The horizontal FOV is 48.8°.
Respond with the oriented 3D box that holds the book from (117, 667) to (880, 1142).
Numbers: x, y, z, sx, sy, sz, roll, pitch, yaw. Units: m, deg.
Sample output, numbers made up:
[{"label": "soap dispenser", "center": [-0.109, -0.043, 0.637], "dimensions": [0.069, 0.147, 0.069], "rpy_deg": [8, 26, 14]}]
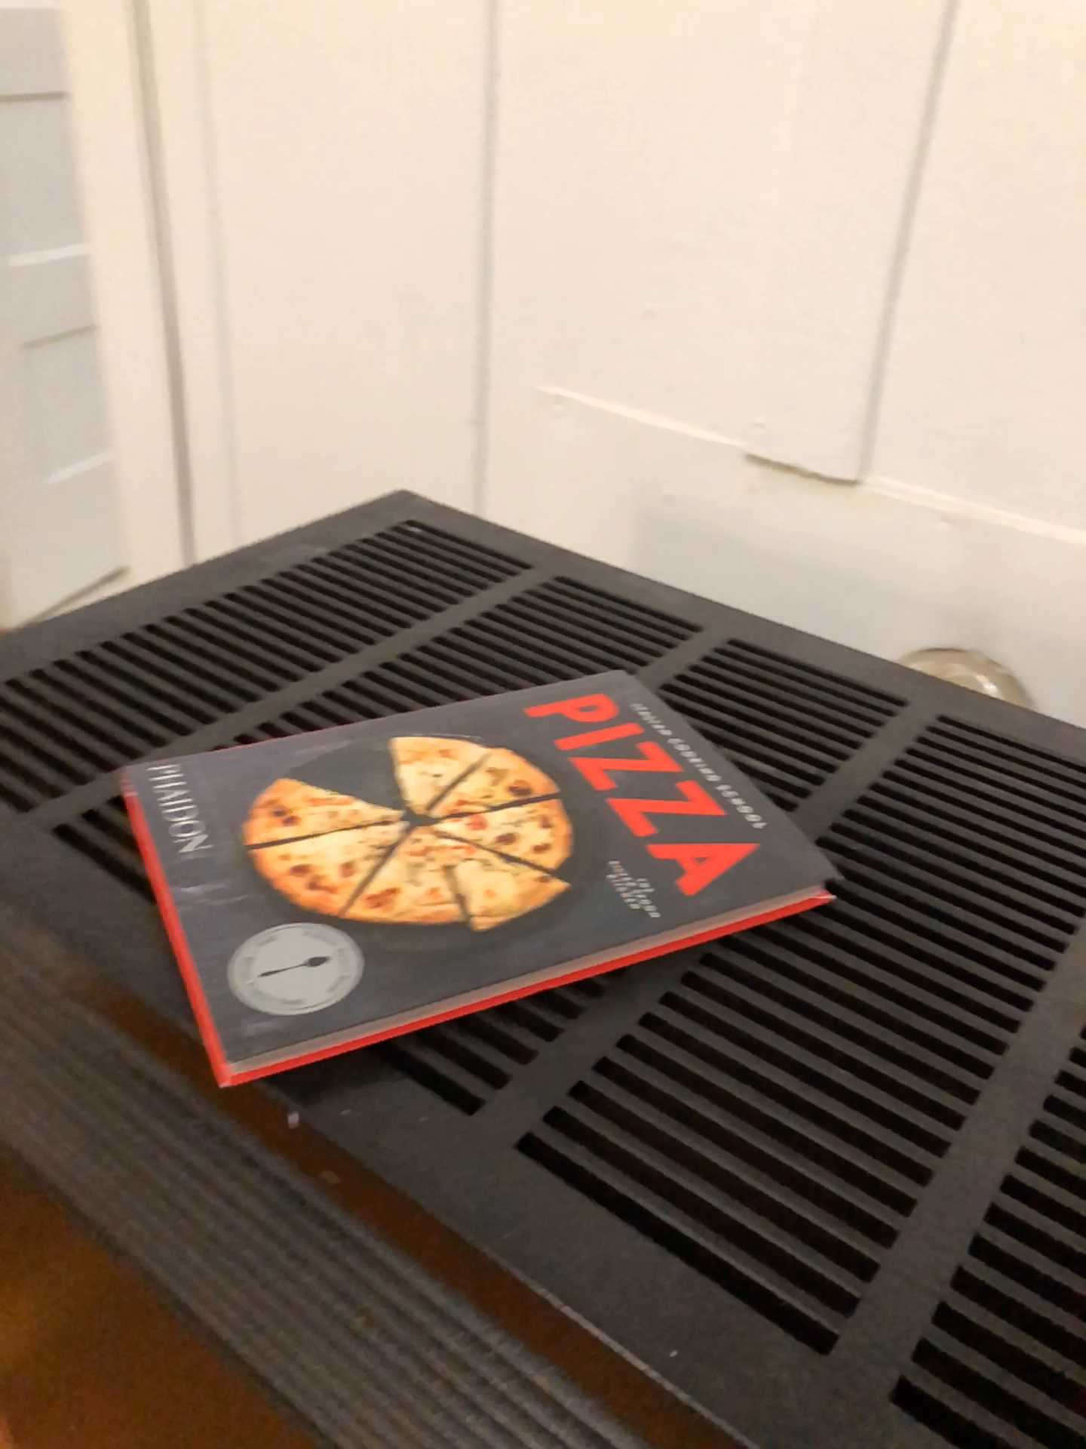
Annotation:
[{"label": "book", "center": [-0.024, 0.046, 0.450], "dimensions": [0.230, 0.020, 0.181], "rpy_deg": [-11, 34, -24]}]
